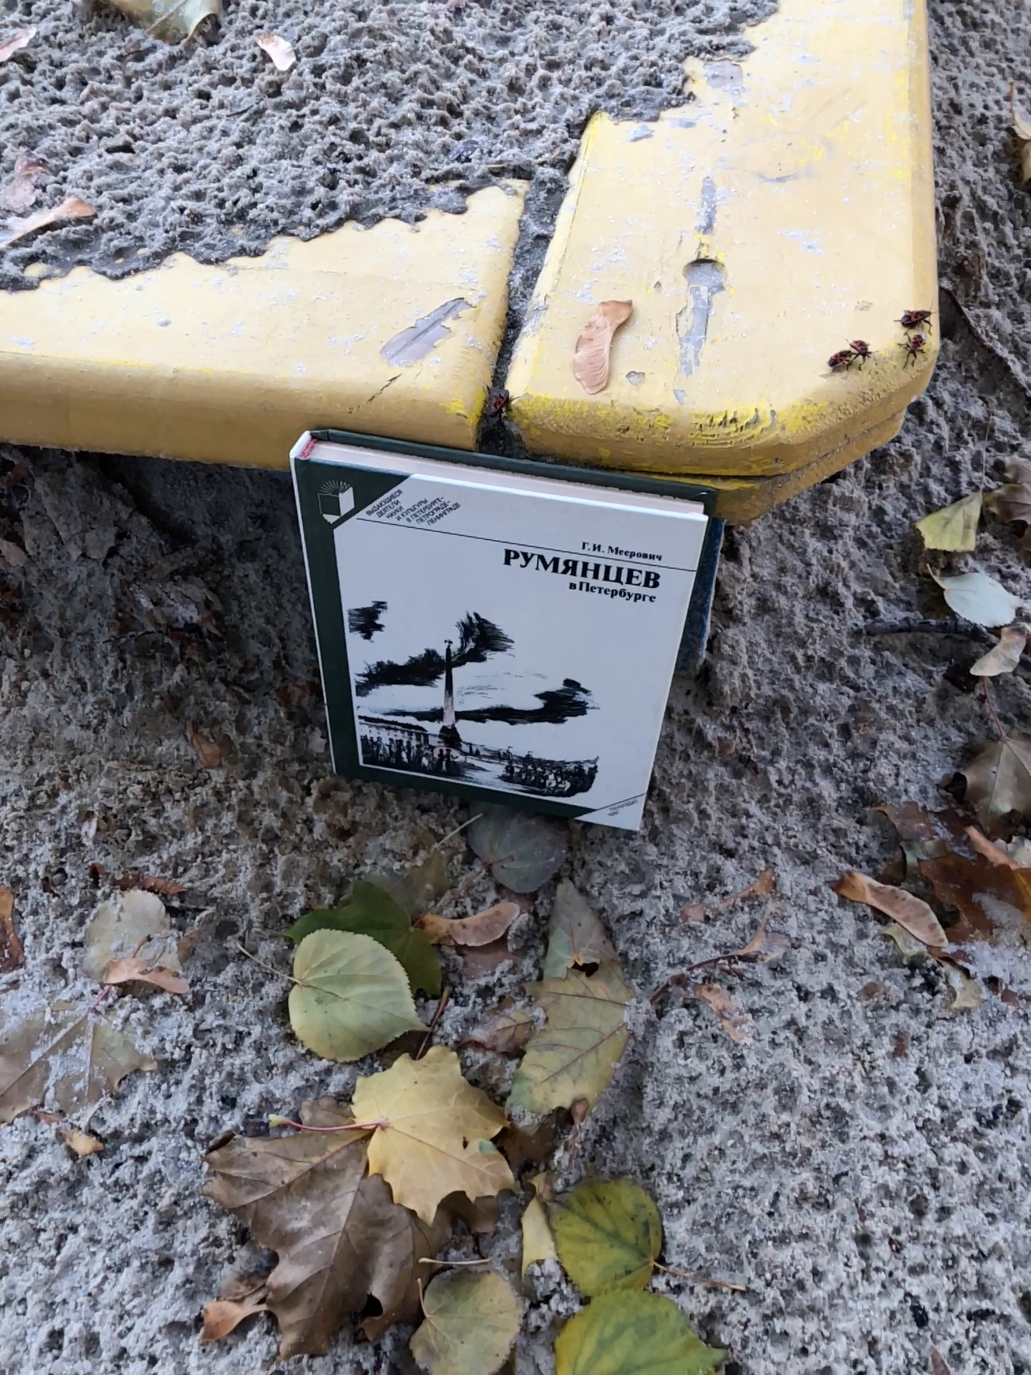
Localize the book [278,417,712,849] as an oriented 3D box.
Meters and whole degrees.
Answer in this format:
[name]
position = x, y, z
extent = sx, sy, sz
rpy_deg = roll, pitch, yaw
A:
[book]
position = -0.009, -0.014, 0.418
extent = 0.140, 0.155, 0.020
rpy_deg = 11, 43, 12
